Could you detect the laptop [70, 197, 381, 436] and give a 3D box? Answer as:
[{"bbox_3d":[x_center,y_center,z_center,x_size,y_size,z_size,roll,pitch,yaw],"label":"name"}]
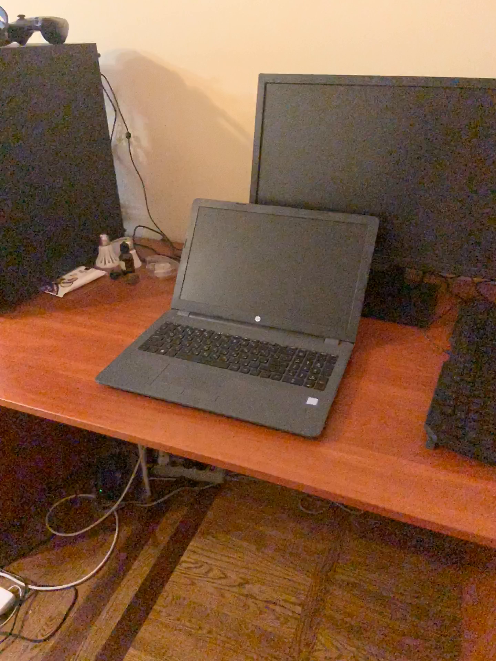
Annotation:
[{"bbox_3d":[-0.005,-0.064,0.854,0.372,0.188,0.393,11,32,18],"label":"laptop"}]
